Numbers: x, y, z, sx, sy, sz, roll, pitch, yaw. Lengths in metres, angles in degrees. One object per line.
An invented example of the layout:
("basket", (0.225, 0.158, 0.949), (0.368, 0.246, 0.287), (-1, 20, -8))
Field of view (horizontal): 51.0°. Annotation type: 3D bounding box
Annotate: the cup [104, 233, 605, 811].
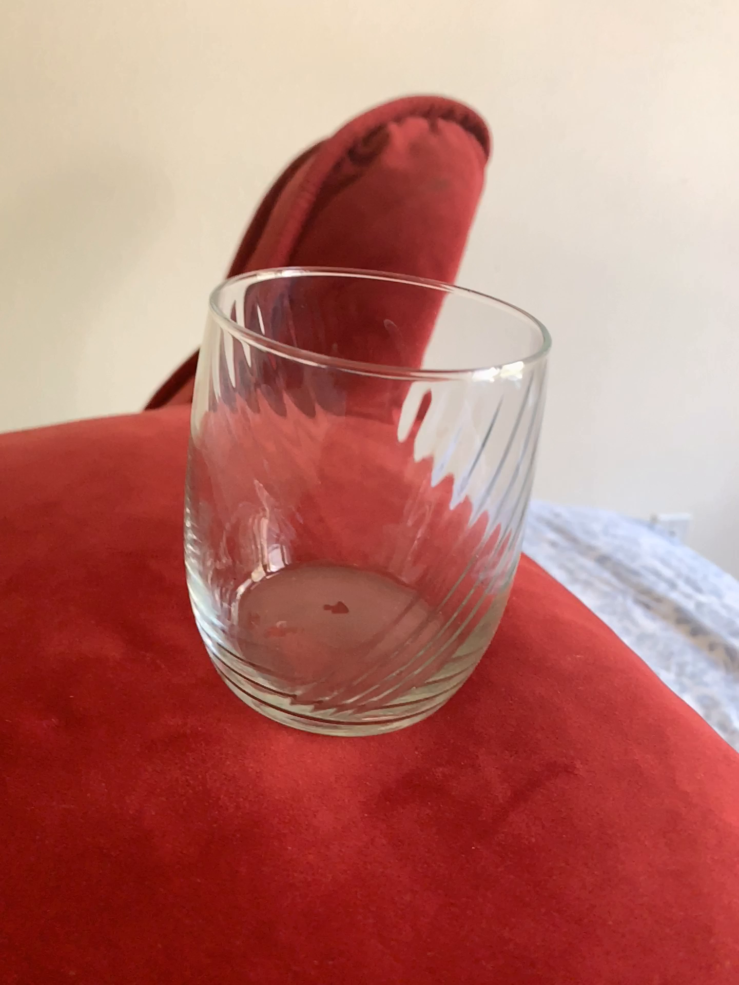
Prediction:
("cup", (0.000, -0.001, 0.175), (0.080, 0.090, 0.080), (5, 28, -3))
